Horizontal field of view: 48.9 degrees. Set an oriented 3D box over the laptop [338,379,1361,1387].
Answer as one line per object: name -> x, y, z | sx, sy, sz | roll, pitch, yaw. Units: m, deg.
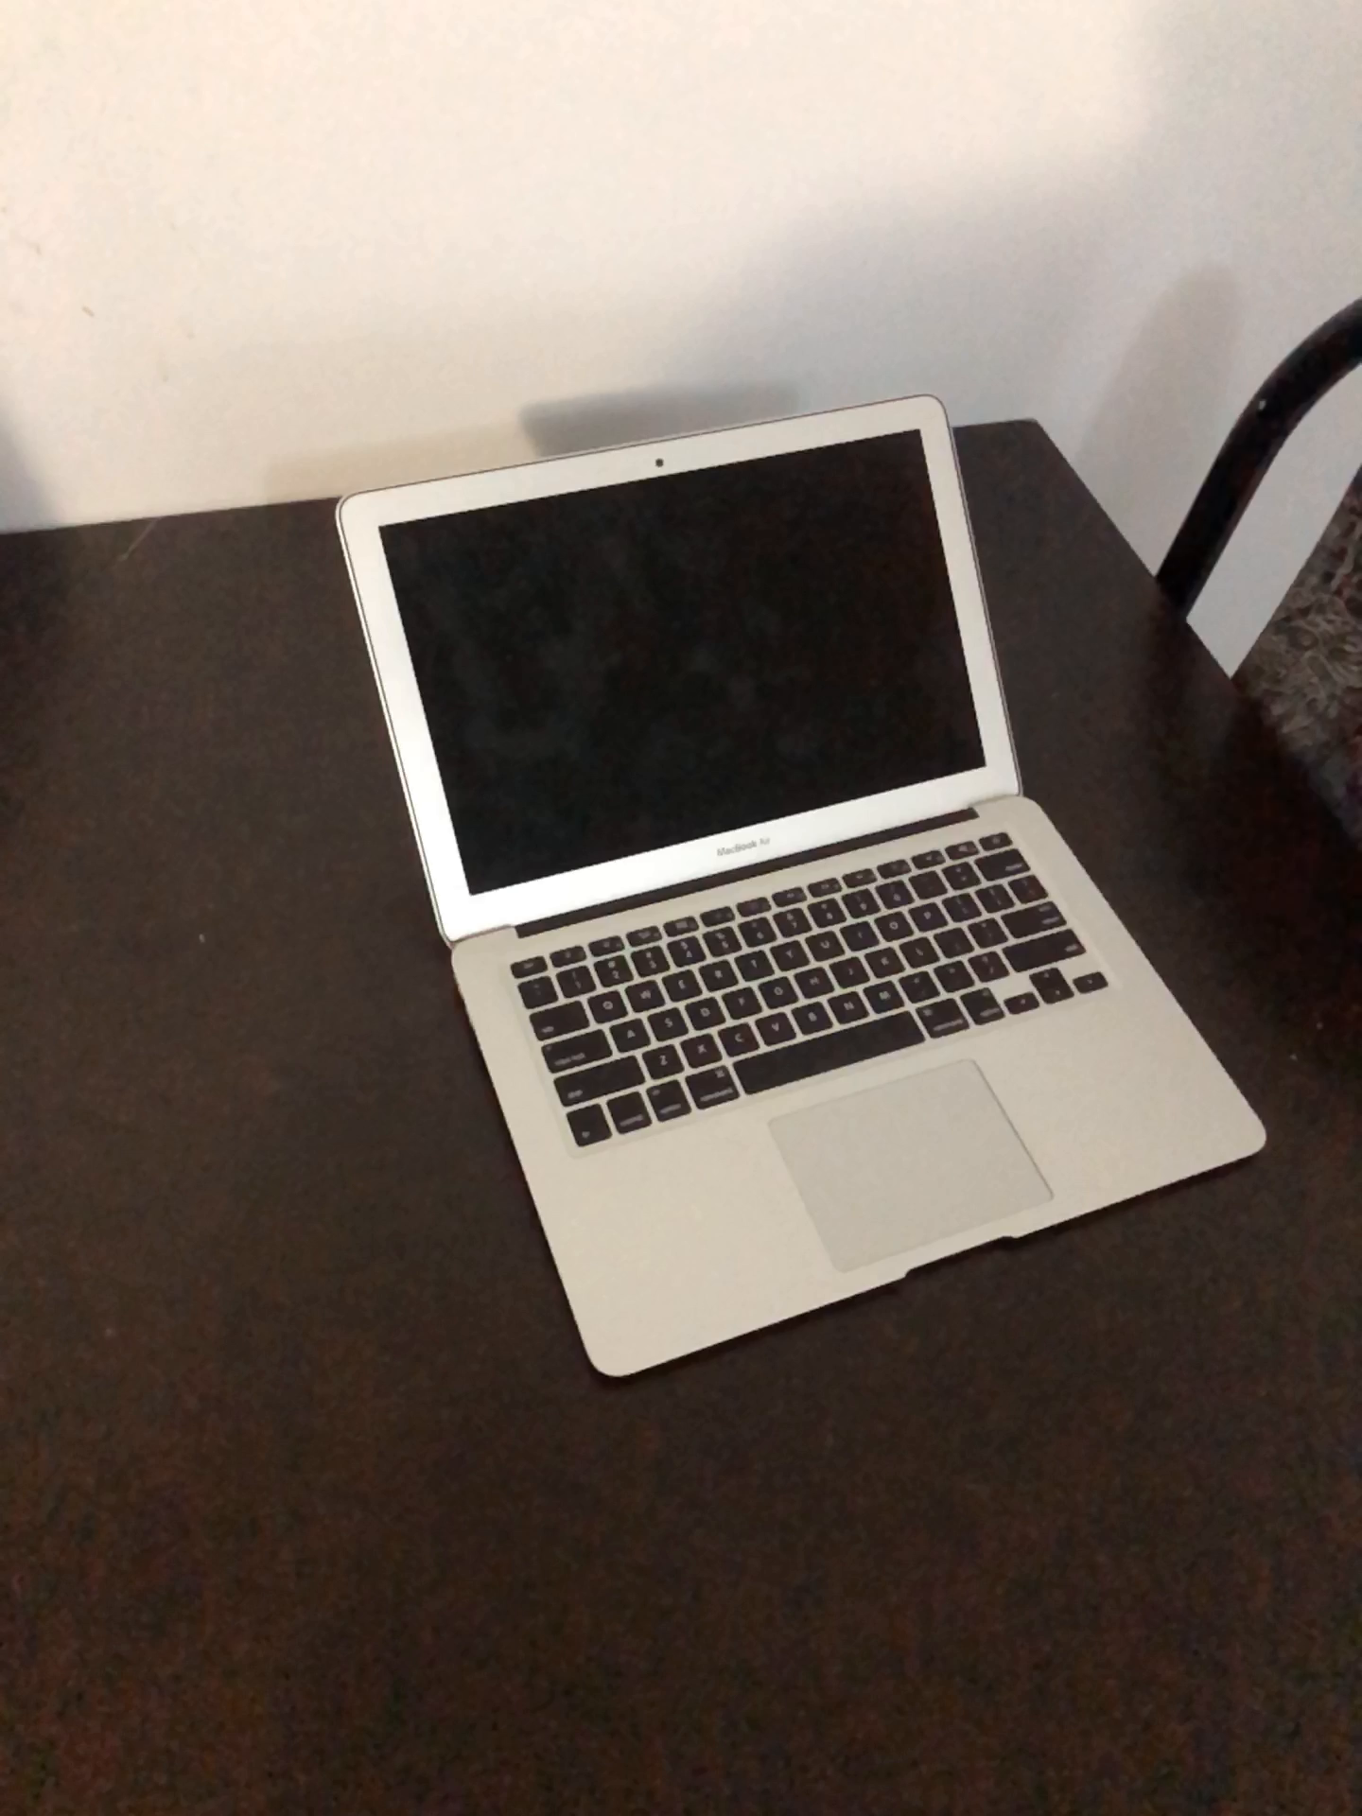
laptop -> 0.051, -0.042, 0.641 | 0.303, 0.136, 0.362 | -15, 54, -16
